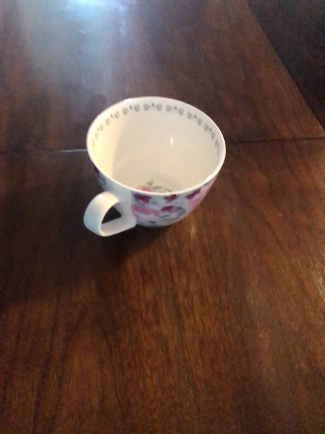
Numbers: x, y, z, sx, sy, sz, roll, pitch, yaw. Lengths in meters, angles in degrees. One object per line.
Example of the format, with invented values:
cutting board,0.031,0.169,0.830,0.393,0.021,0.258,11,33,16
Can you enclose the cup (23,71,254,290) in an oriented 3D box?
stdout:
cup,-0.014,-0.042,0.326,0.120,0.070,0.160,29,56,16
